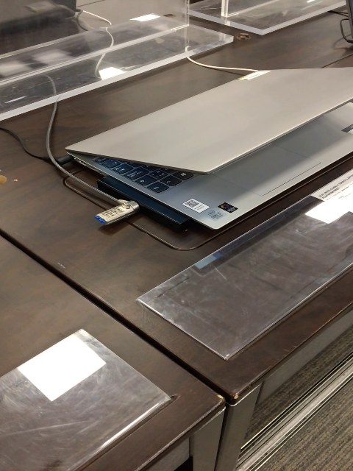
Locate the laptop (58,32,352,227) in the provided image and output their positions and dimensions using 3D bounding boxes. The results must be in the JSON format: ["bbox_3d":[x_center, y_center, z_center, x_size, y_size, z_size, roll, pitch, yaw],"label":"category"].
[{"bbox_3d":[0.088,-0.160,0.616,0.345,0.074,0.237,-32,53,-25],"label":"laptop"}]
